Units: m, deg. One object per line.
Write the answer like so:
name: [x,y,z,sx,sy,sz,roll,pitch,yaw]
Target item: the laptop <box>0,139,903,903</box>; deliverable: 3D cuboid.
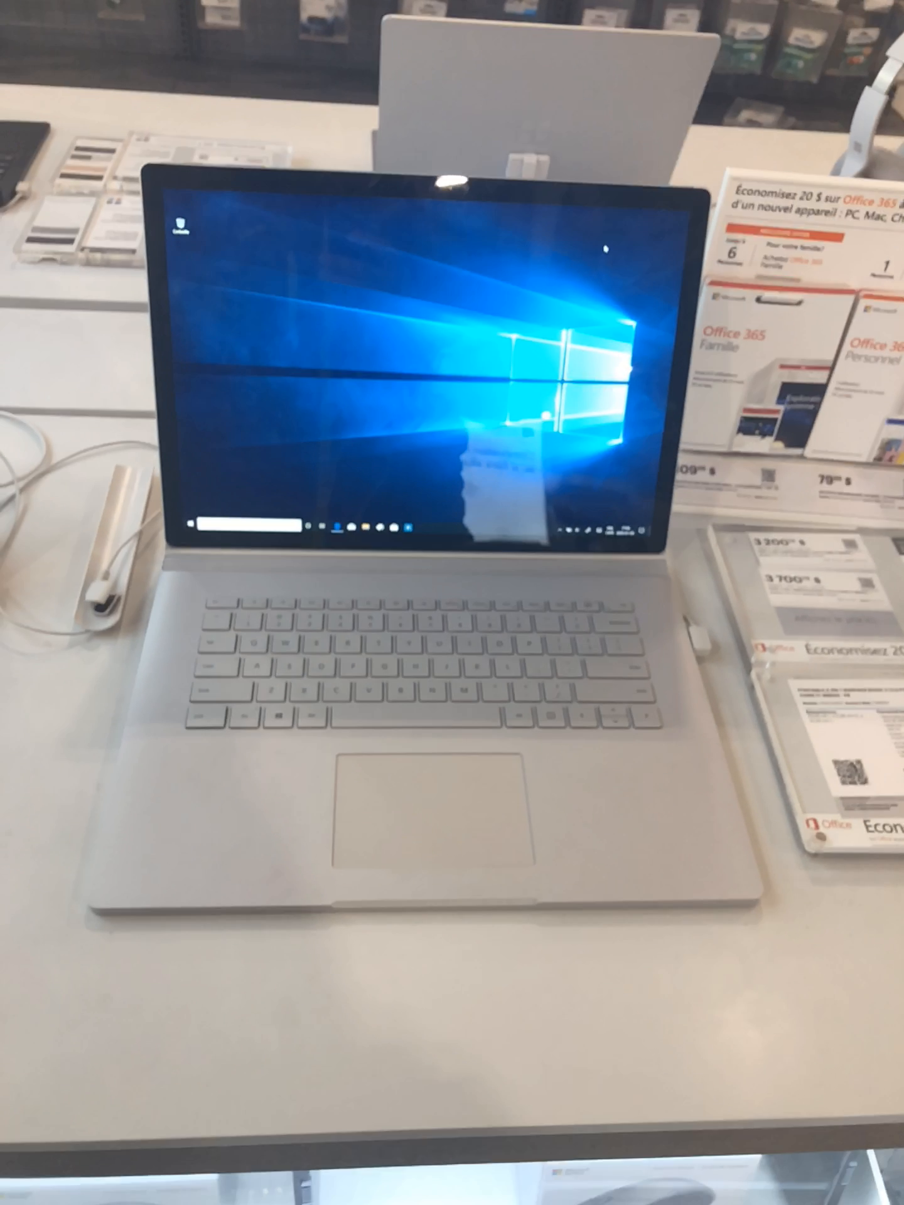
laptop: [-0.012,-0.059,0.557,0.338,0.207,0.366,1,47,-6]
